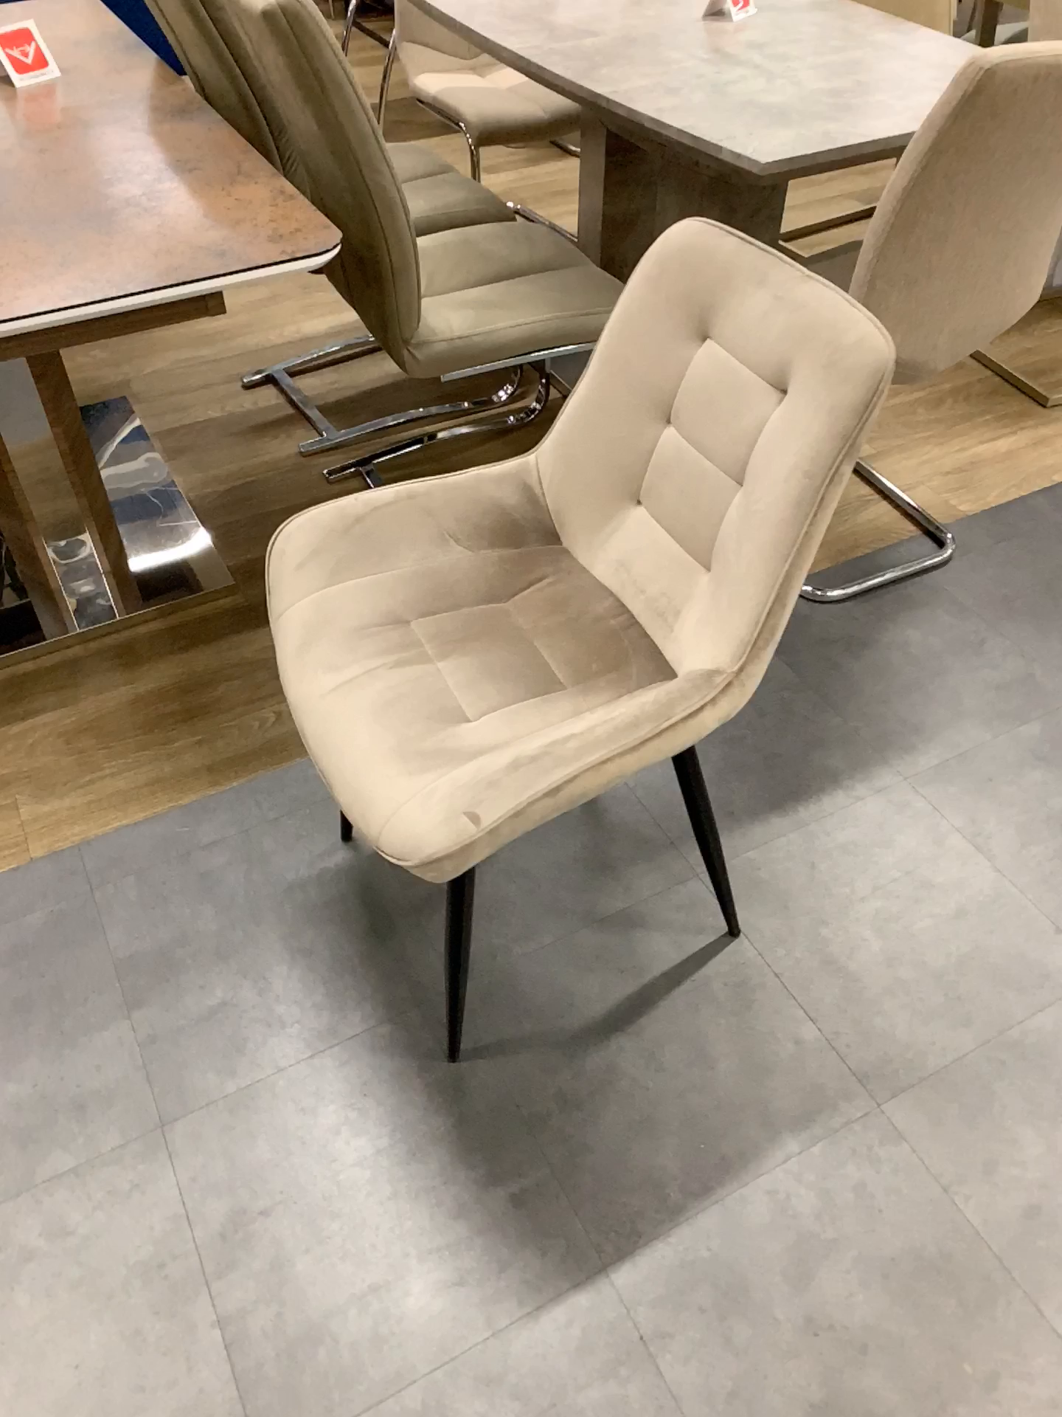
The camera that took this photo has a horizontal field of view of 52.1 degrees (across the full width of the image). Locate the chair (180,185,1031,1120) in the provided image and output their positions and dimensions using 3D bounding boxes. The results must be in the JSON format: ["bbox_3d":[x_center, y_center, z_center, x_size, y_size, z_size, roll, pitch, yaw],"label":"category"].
[{"bbox_3d":[0.036,-0.066,1.314,0.611,0.817,0.569,-19,47,-18],"label":"chair"}]
